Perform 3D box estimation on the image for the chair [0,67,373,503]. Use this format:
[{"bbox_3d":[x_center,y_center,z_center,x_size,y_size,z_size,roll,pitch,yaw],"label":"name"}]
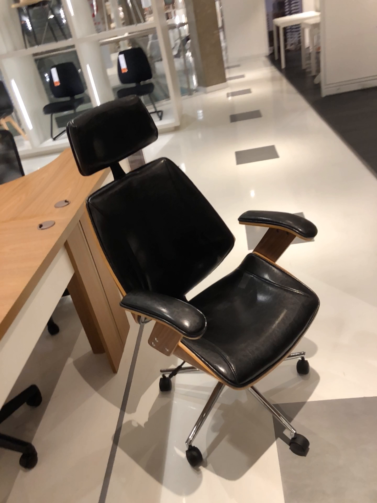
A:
[{"bbox_3d":[0.069,0.082,1.379,0.763,1.101,0.723,16,40,40],"label":"chair"}]
